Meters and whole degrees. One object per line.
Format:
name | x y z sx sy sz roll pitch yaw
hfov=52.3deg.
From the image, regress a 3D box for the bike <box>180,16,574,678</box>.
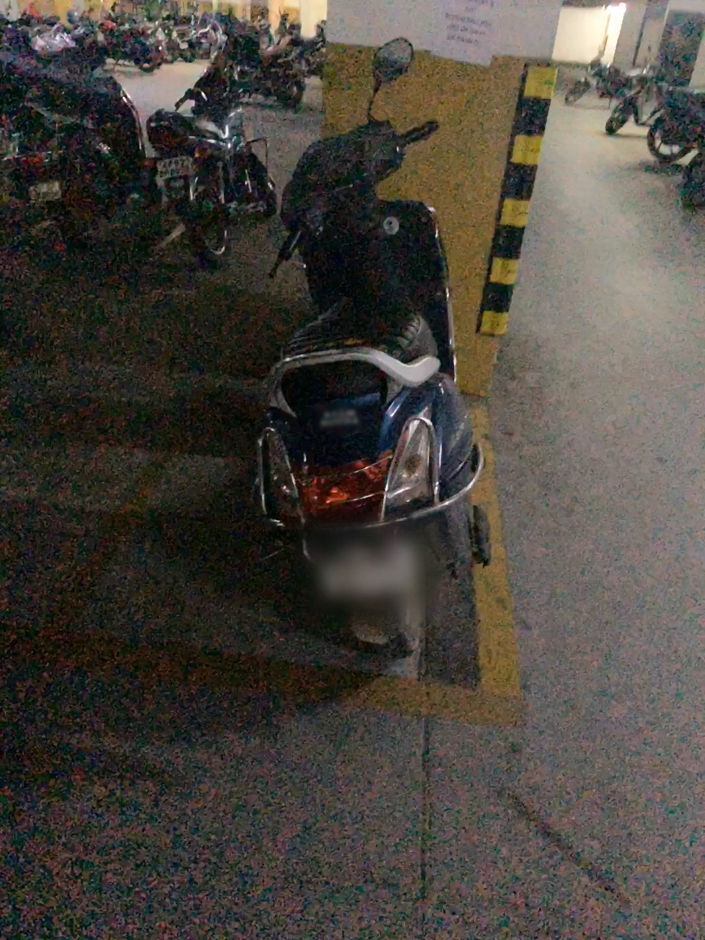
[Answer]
bike | -0.043 -0.400 1.894 0.630 1.063 1.276 1 38 -6
